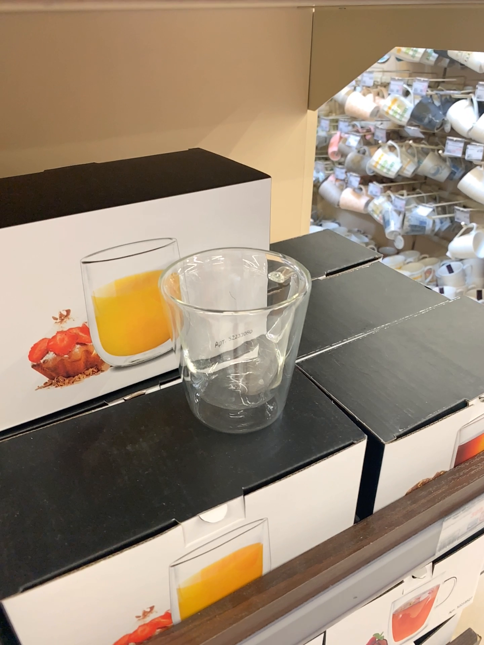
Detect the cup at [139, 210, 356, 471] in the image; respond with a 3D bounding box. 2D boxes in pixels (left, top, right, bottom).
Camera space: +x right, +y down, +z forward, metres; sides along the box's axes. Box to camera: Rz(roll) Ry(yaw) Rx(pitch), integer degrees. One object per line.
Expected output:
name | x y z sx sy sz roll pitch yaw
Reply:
cup | 0.009 0.002 0.280 0.070 0.090 0.110 15 34 23
